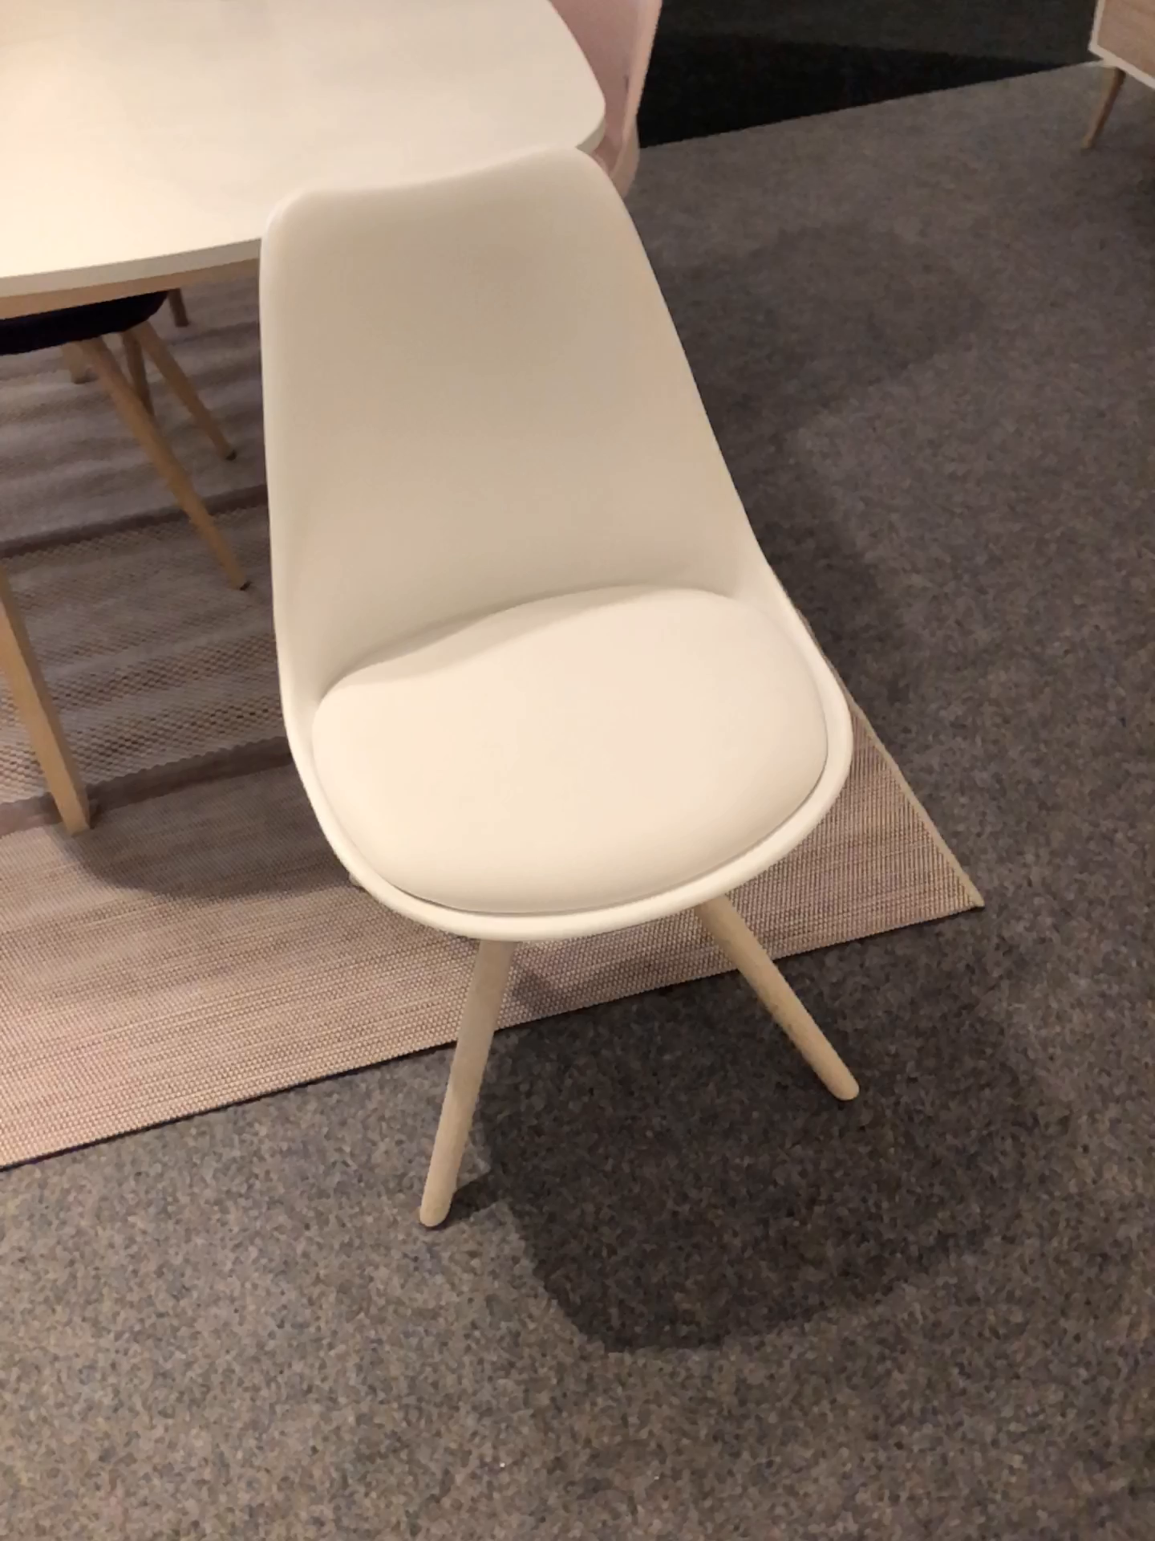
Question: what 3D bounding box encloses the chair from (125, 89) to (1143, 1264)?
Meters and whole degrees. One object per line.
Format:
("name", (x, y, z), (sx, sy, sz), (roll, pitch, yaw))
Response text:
("chair", (0.000, -0.070, 1.148), (0.551, 0.756, 0.592), (-14, 47, -8))
